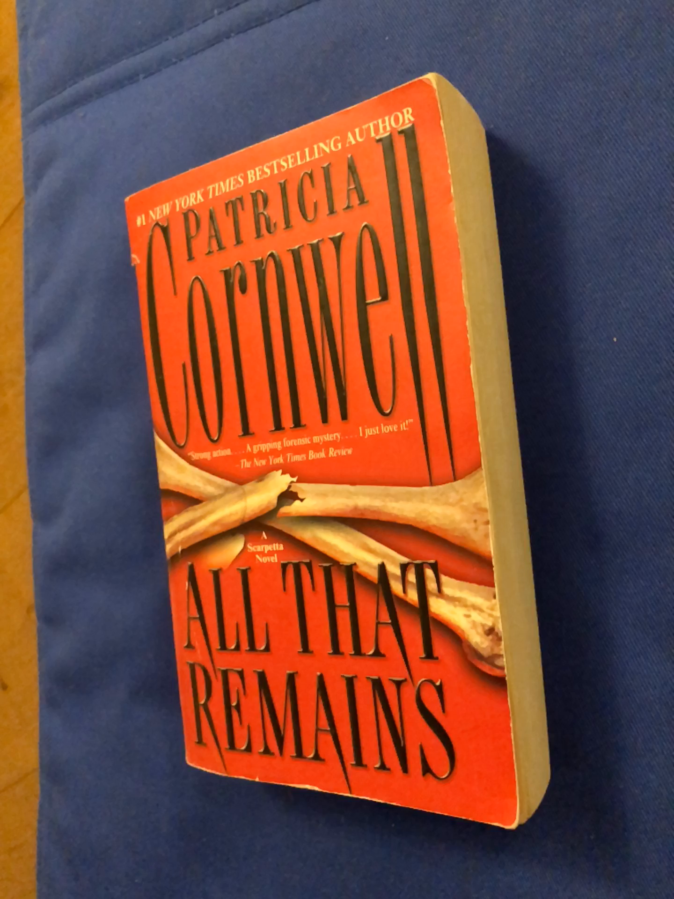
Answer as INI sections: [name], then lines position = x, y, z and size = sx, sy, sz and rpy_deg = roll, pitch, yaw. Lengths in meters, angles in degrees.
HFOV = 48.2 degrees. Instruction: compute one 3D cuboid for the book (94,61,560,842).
[book]
position = -0.009, 0.004, 0.201
size = 0.110, 0.030, 0.166
rpy_deg = -7, 88, 32
